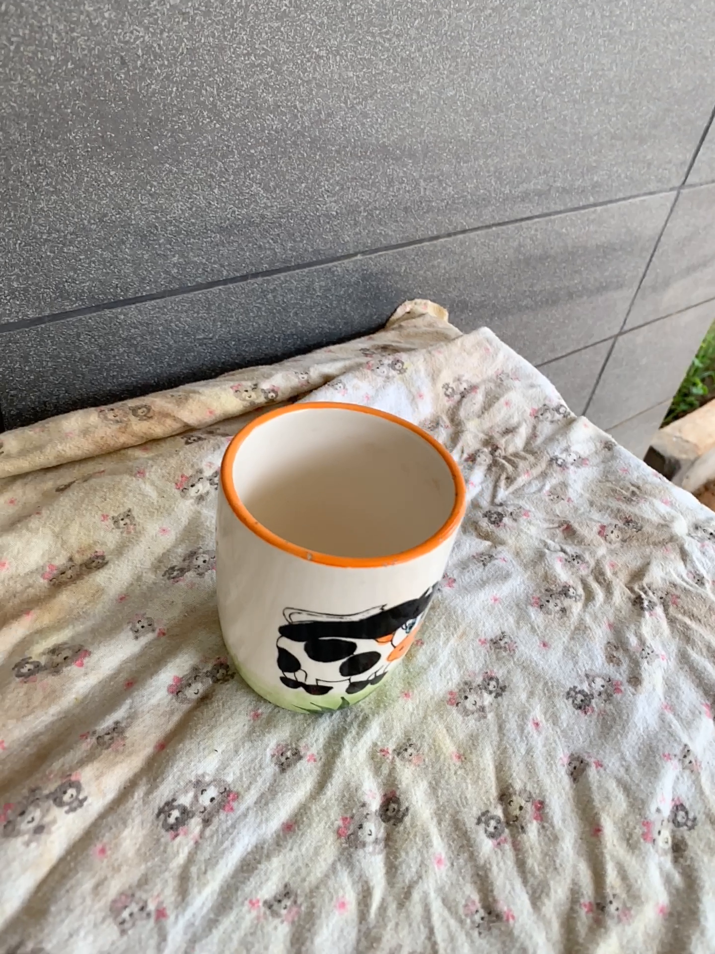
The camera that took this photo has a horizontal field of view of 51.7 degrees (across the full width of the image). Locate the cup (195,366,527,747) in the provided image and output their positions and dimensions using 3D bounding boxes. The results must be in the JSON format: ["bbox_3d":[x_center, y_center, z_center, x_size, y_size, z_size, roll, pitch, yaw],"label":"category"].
[{"bbox_3d":[-0.009,0.024,0.248,0.080,0.090,0.080,7,40,-6],"label":"cup"}]
